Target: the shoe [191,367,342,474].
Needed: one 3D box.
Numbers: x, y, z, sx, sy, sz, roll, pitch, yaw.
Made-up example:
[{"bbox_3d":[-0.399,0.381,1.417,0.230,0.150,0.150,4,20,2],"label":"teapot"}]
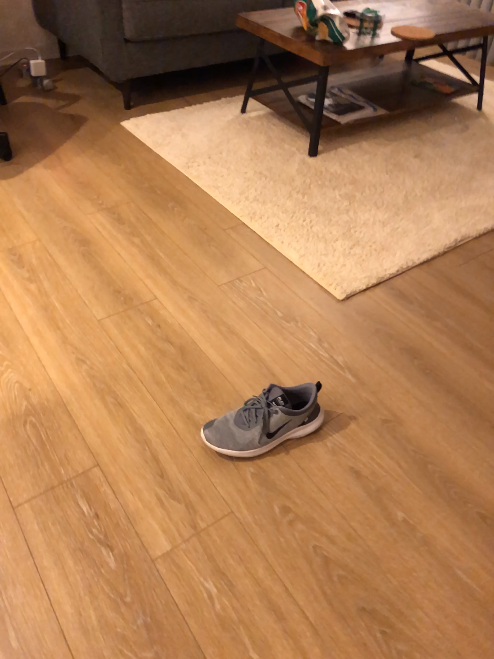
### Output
[{"bbox_3d":[0.039,0.197,1.217,0.300,0.090,0.141,-12,45,-16],"label":"shoe"}]
